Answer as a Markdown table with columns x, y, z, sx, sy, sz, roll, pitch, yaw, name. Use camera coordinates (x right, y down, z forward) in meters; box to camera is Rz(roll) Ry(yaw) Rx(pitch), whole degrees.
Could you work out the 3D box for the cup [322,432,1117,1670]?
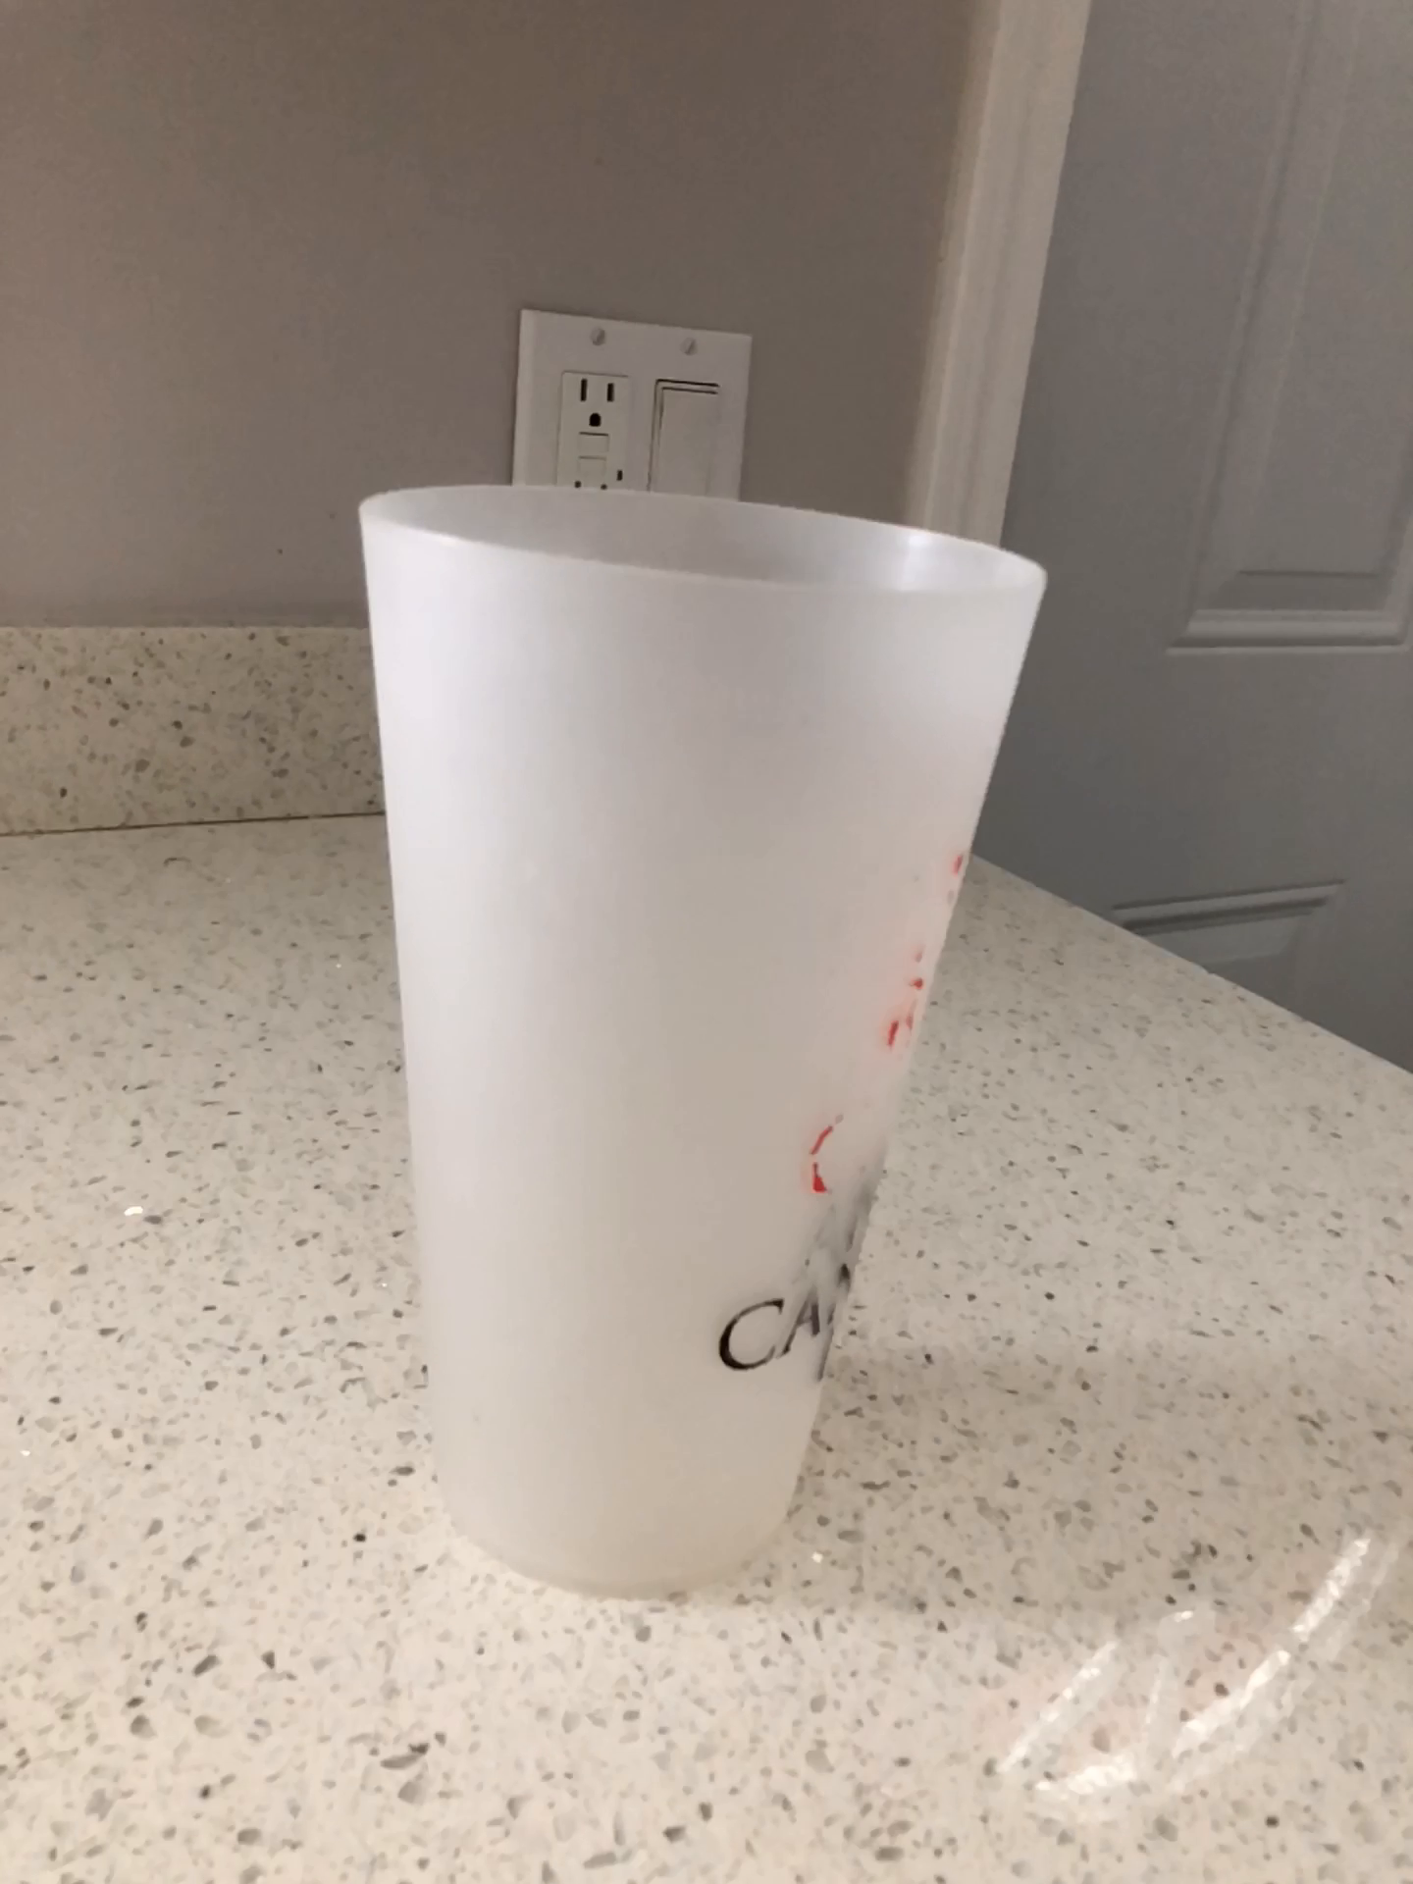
| x | y | z | sx | sy | sz | roll | pitch | yaw | name |
| --- | --- | --- | --- | --- | --- | --- | --- | --- | --- |
| 0.001 | 0.010 | 0.257 | 0.093 | 0.166 | 0.096 | 5 | 21 | -2 | cup |
